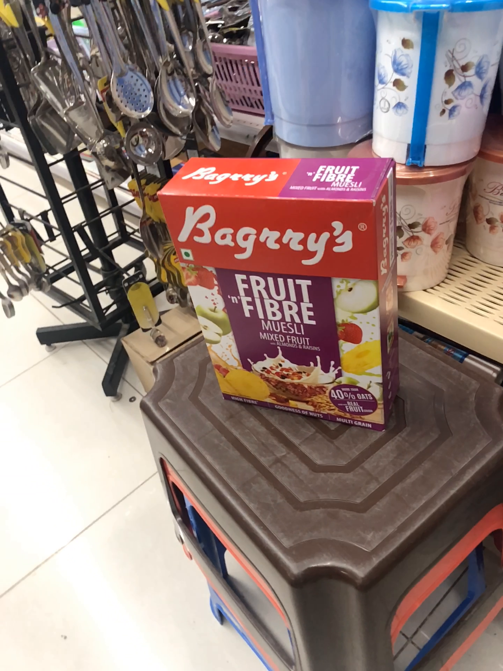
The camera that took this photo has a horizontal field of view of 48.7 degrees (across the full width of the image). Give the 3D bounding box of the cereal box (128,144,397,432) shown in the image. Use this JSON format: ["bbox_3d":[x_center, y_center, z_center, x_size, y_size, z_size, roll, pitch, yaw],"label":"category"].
[{"bbox_3d":[0.026,-0.039,0.524,0.200,0.259,0.070,9,45,25],"label":"cereal box"}]
